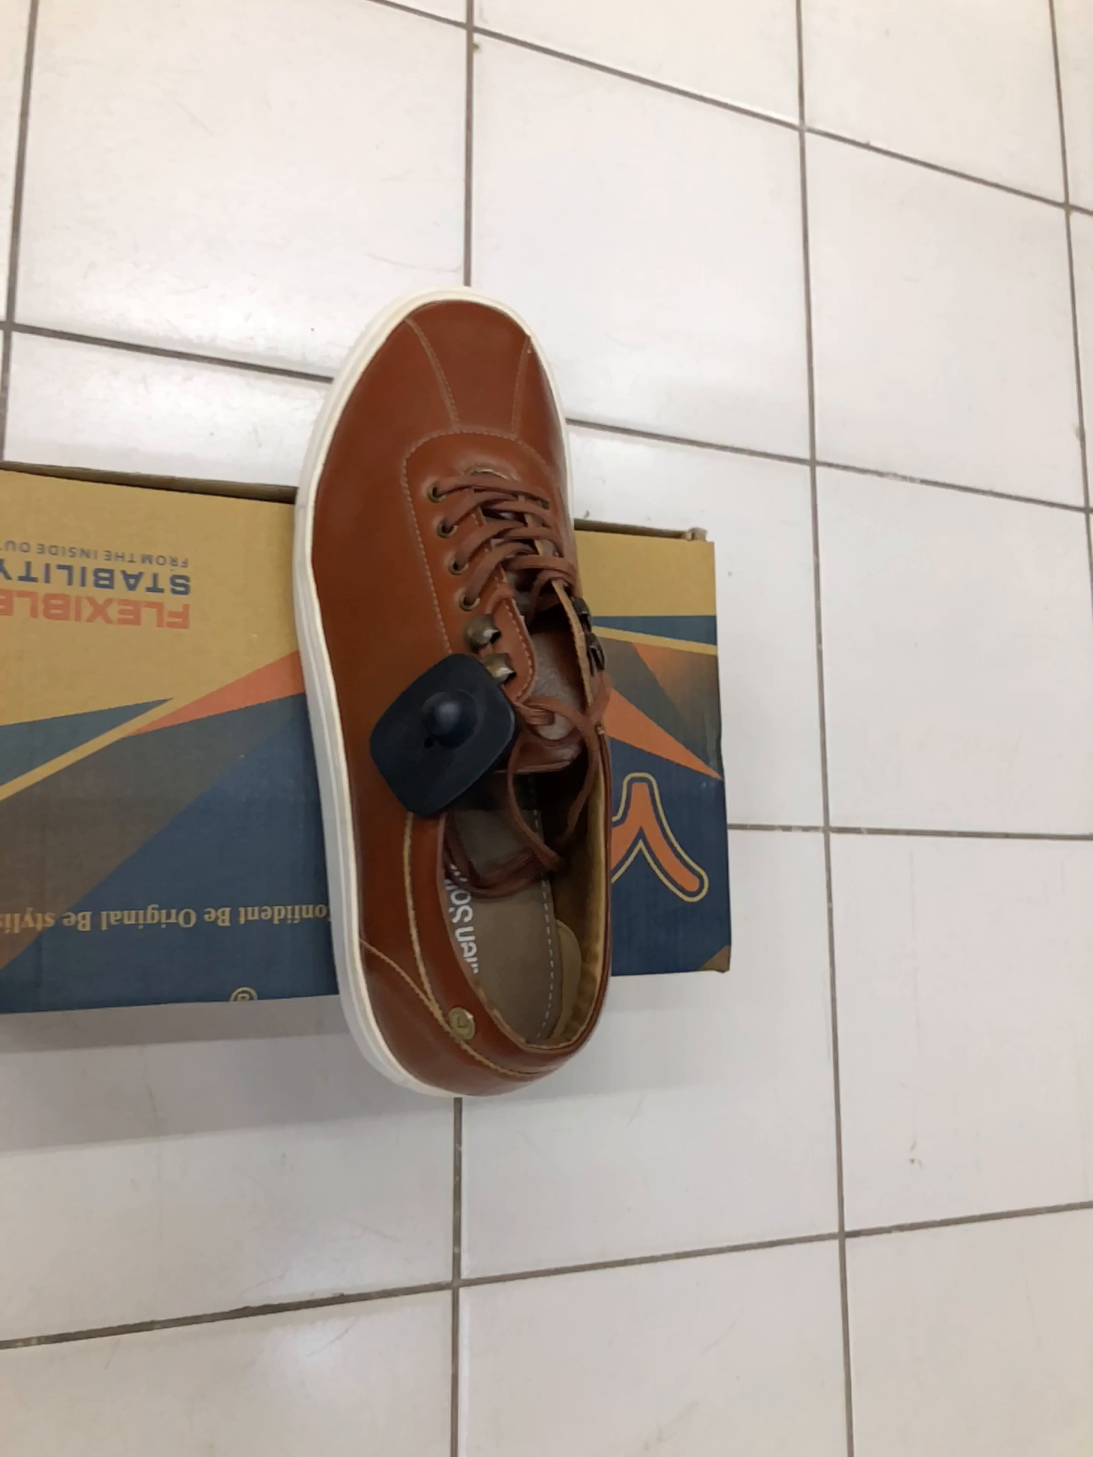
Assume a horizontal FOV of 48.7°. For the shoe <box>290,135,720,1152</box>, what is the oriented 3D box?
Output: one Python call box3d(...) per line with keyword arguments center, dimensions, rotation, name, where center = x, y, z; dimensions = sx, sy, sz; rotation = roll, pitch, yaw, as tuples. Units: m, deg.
box3d(center=(-0.023, -0.022, 0.396), dimensions=(0.100, 0.110, 0.280), rotation=(2, 81, -24), name="shoe")
